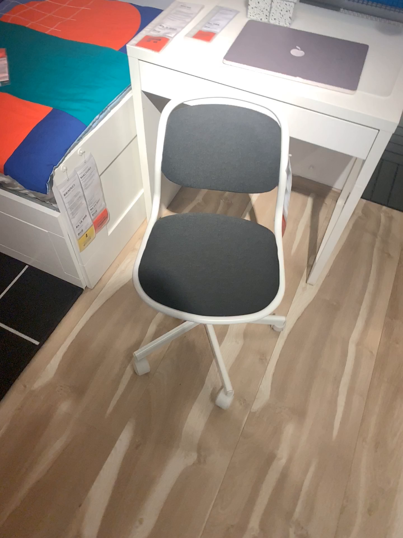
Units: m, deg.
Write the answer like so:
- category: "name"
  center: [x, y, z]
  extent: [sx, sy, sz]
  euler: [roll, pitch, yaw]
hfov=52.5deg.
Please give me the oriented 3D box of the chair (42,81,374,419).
- category: "chair"
  center: [0.018, -0.015, 1.126]
  extent: [0.550, 0.658, 0.621]
  euler: [4, 55, 1]
